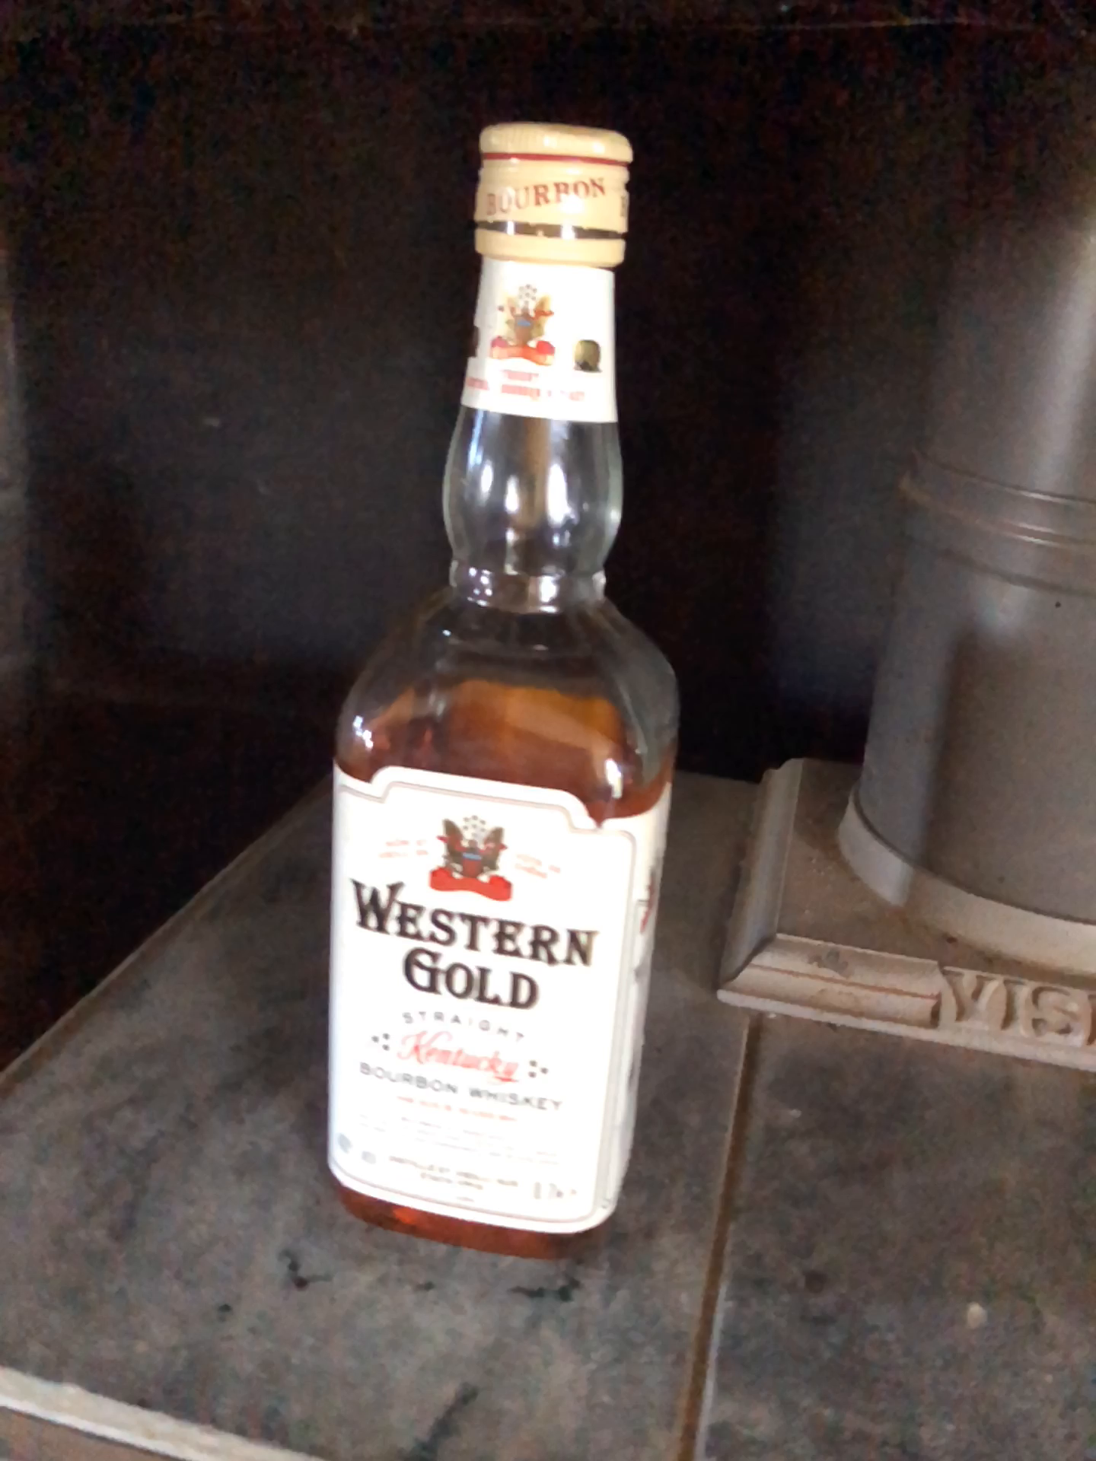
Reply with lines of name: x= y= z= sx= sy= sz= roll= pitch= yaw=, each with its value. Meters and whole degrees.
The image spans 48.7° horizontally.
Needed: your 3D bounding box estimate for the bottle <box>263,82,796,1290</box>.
bottle: x=-0.003 y=-0.005 z=0.284 sx=0.090 sy=0.249 sz=0.080 roll=7 pitch=21 yaw=11
